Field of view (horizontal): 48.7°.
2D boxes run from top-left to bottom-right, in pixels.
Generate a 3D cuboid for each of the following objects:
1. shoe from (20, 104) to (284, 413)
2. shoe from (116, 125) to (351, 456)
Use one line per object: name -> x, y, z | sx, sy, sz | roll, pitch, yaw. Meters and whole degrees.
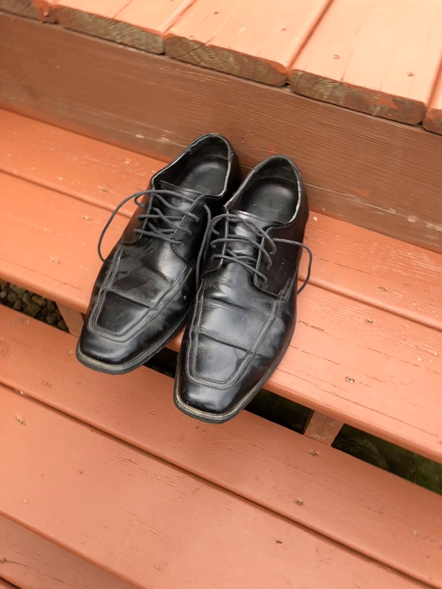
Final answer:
shoe -> -0.052, -0.058, 0.549 | 0.130, 0.110, 0.331 | 21, 58, 12
shoe -> 0.029, -0.022, 0.524 | 0.130, 0.110, 0.331 | 17, 57, 10
